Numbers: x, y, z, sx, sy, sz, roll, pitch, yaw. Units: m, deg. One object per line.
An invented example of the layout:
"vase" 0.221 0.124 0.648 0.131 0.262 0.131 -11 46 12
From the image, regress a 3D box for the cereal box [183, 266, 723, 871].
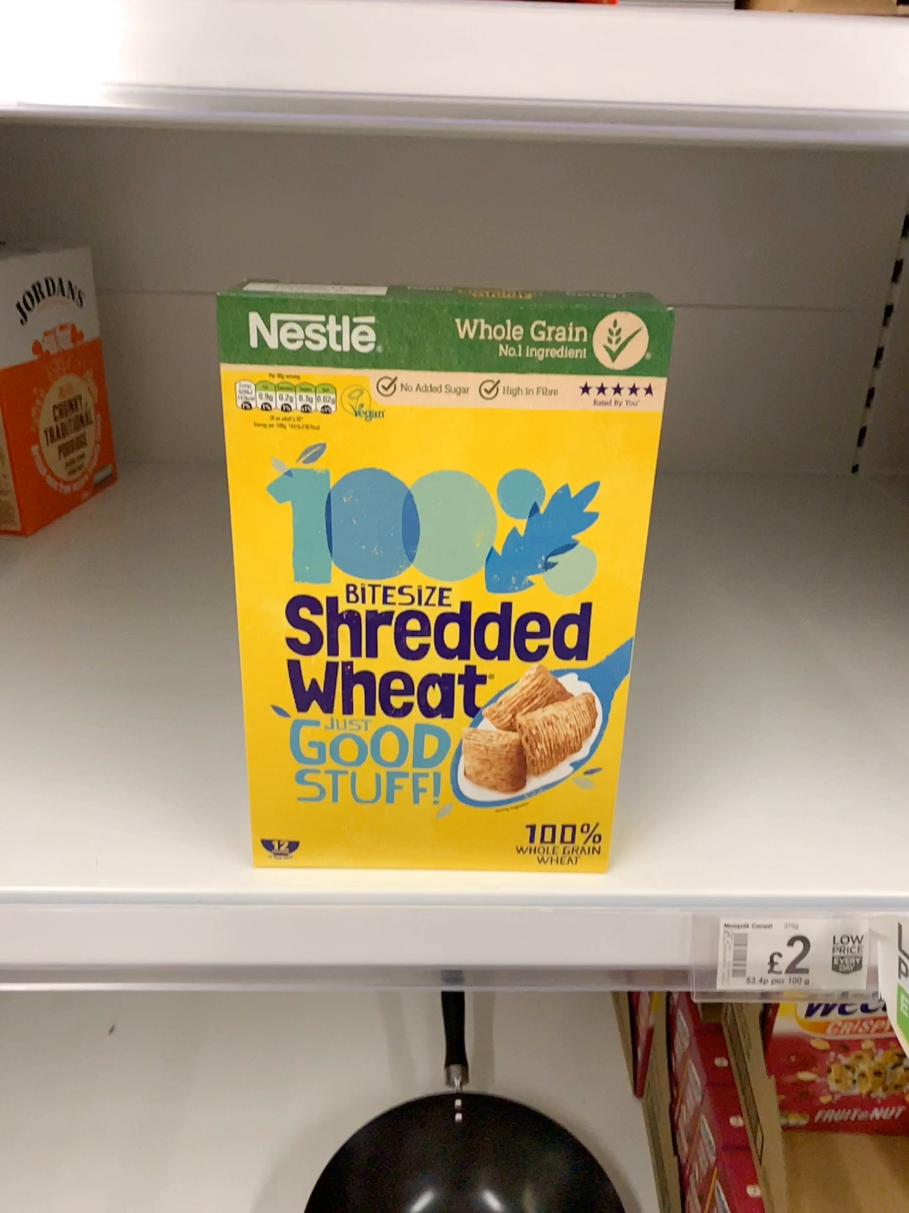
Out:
"cereal box" -0.004 -0.010 0.450 0.210 0.278 0.071 1 23 -1
